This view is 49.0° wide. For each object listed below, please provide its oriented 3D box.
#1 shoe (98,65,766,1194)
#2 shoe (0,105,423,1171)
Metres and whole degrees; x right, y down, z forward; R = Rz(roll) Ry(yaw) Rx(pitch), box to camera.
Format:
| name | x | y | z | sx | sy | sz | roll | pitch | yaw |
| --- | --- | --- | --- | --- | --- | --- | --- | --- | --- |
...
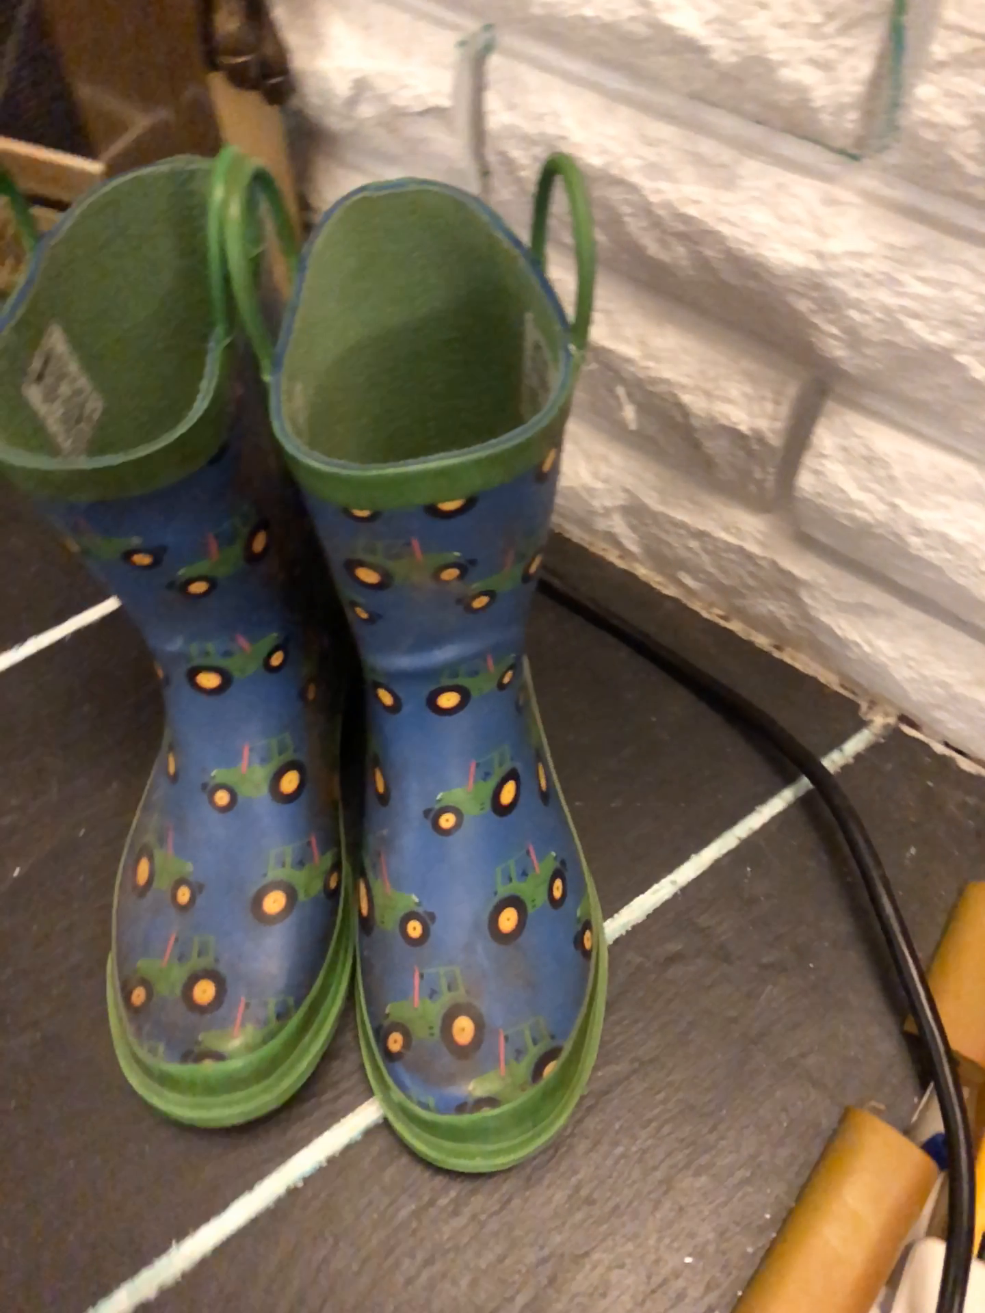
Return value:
| name | x | y | z | sx | sy | sz | roll | pitch | yaw |
| --- | --- | --- | --- | --- | --- | --- | --- | --- | --- |
| shoe | -0.019 | 0.005 | 0.324 | 0.100 | 0.229 | 0.241 | -7 | 56 | -2 |
| shoe | -0.095 | 0.009 | 0.335 | 0.100 | 0.239 | 0.231 | 3 | 56 | 4 |
